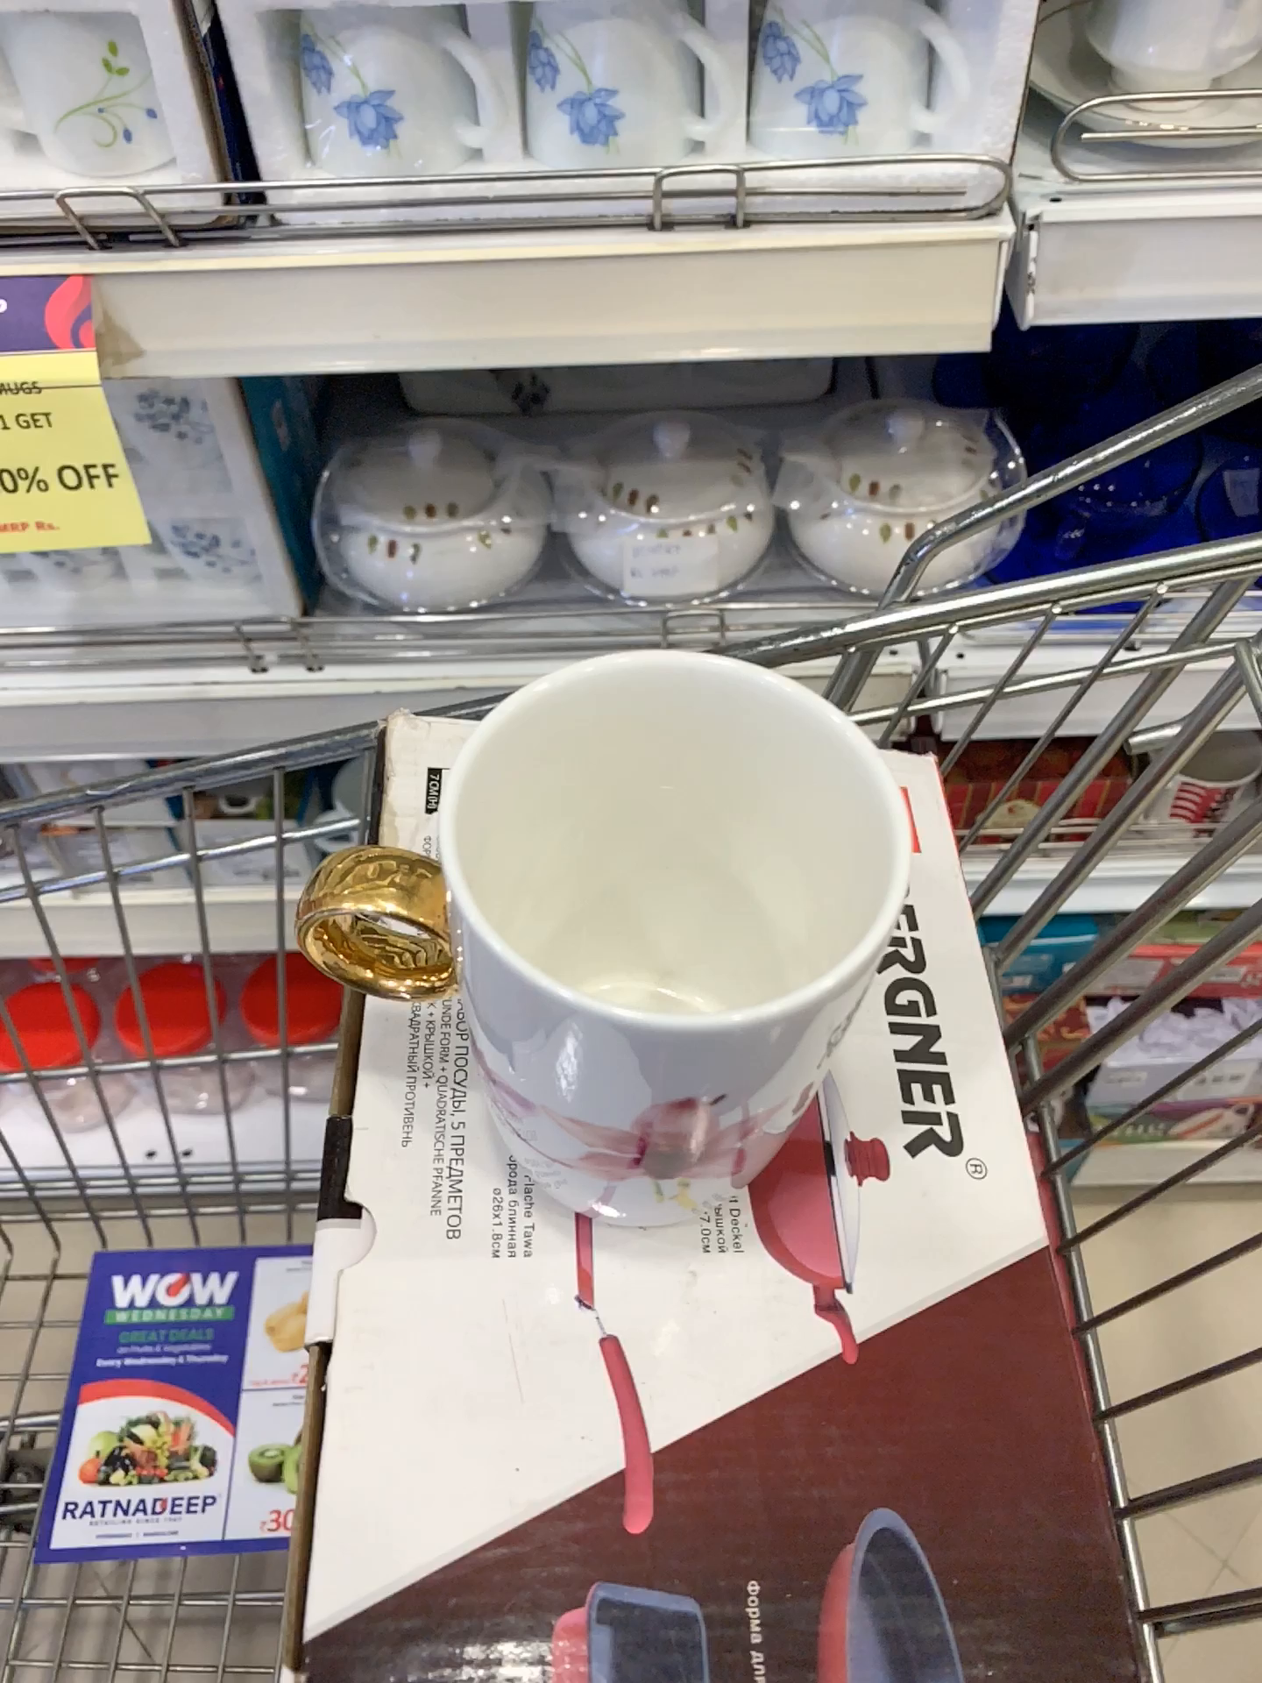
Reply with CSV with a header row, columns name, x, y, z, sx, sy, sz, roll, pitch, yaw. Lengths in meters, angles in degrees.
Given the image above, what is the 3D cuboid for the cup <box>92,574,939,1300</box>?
name,x,y,z,sx,sy,sz,roll,pitch,yaw
cup,-0.013,0.019,0.229,0.110,0.090,0.070,11,55,8
